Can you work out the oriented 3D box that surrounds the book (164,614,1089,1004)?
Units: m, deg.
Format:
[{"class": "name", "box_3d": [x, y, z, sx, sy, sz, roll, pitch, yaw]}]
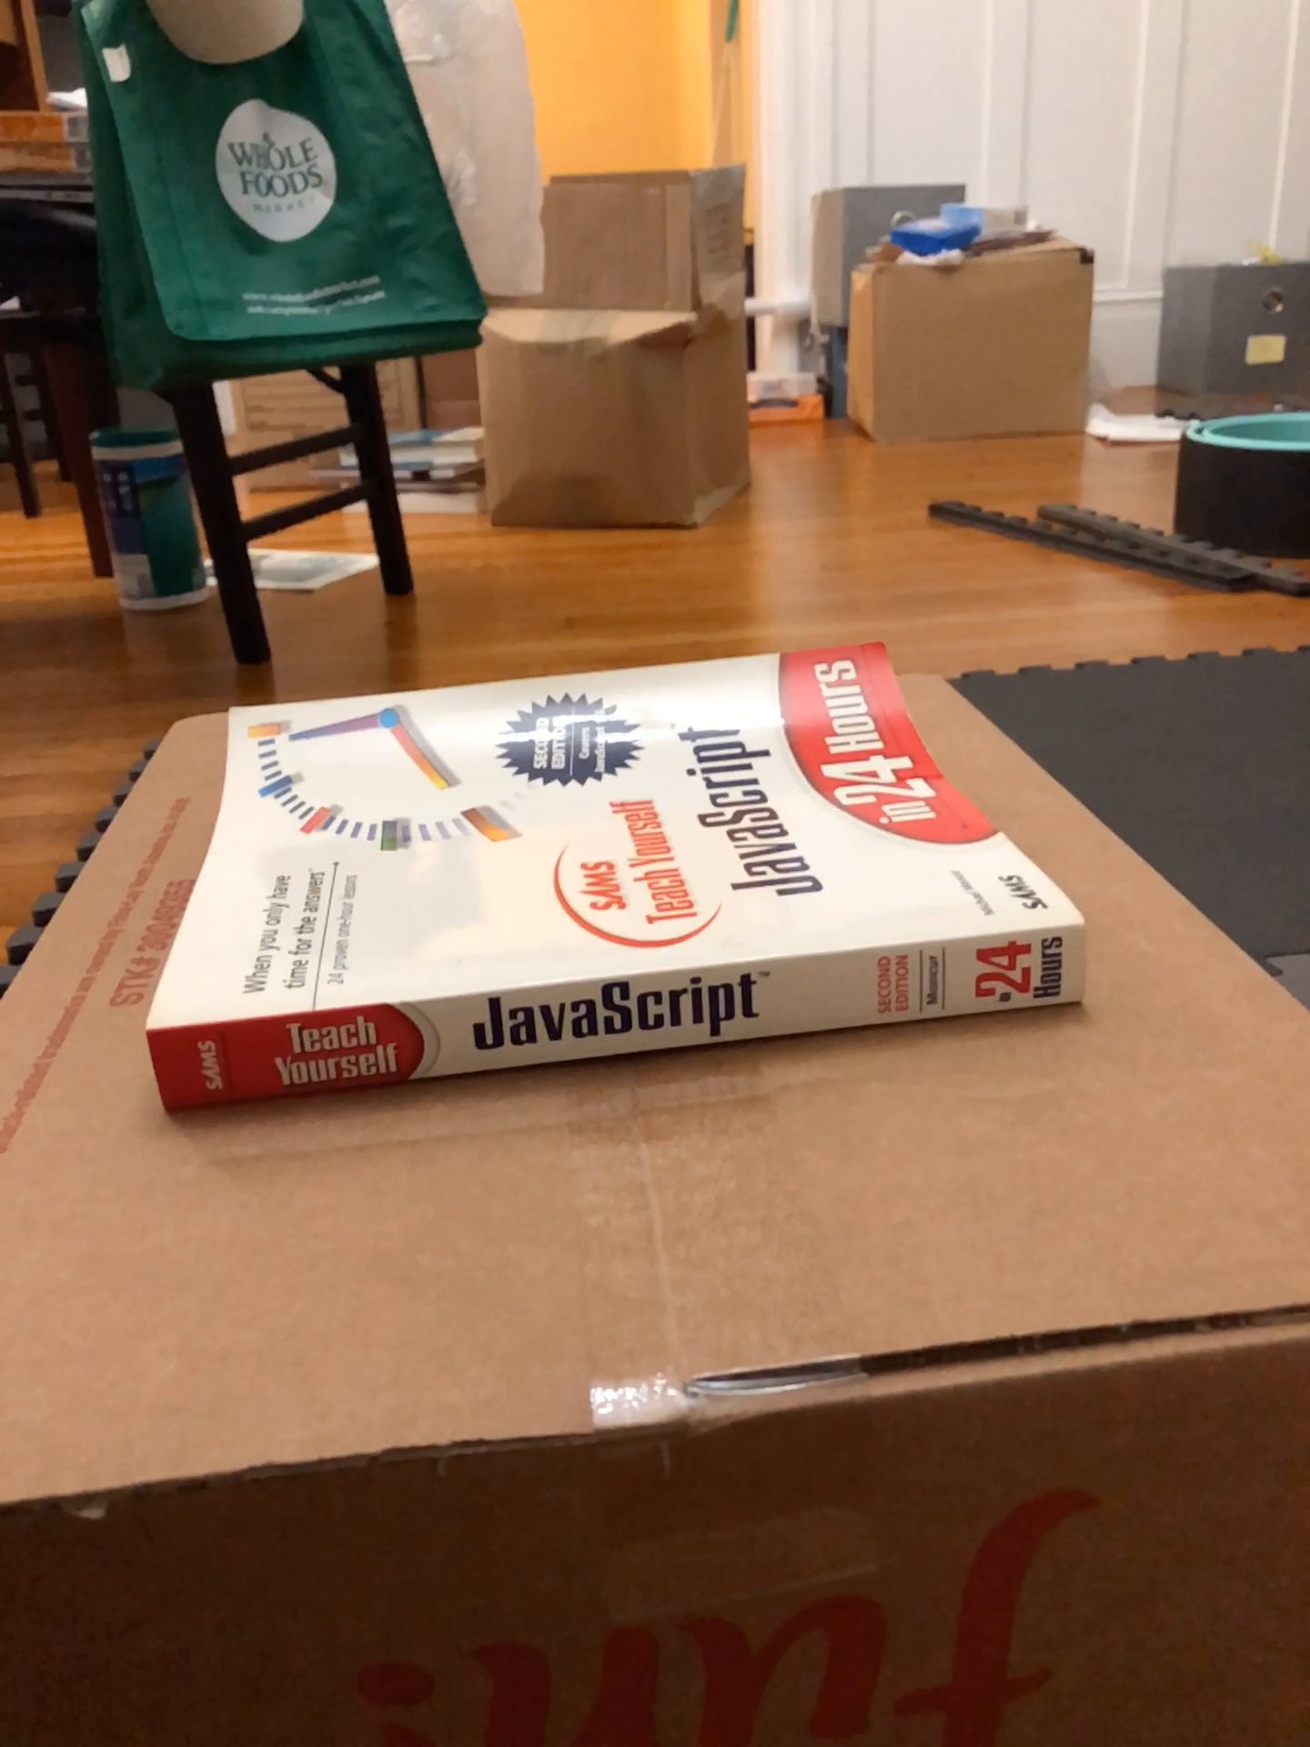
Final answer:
[{"class": "book", "box_3d": [-0.016, -0.034, 0.469, 0.240, 0.030, 0.201, -7, 24, -6]}]
